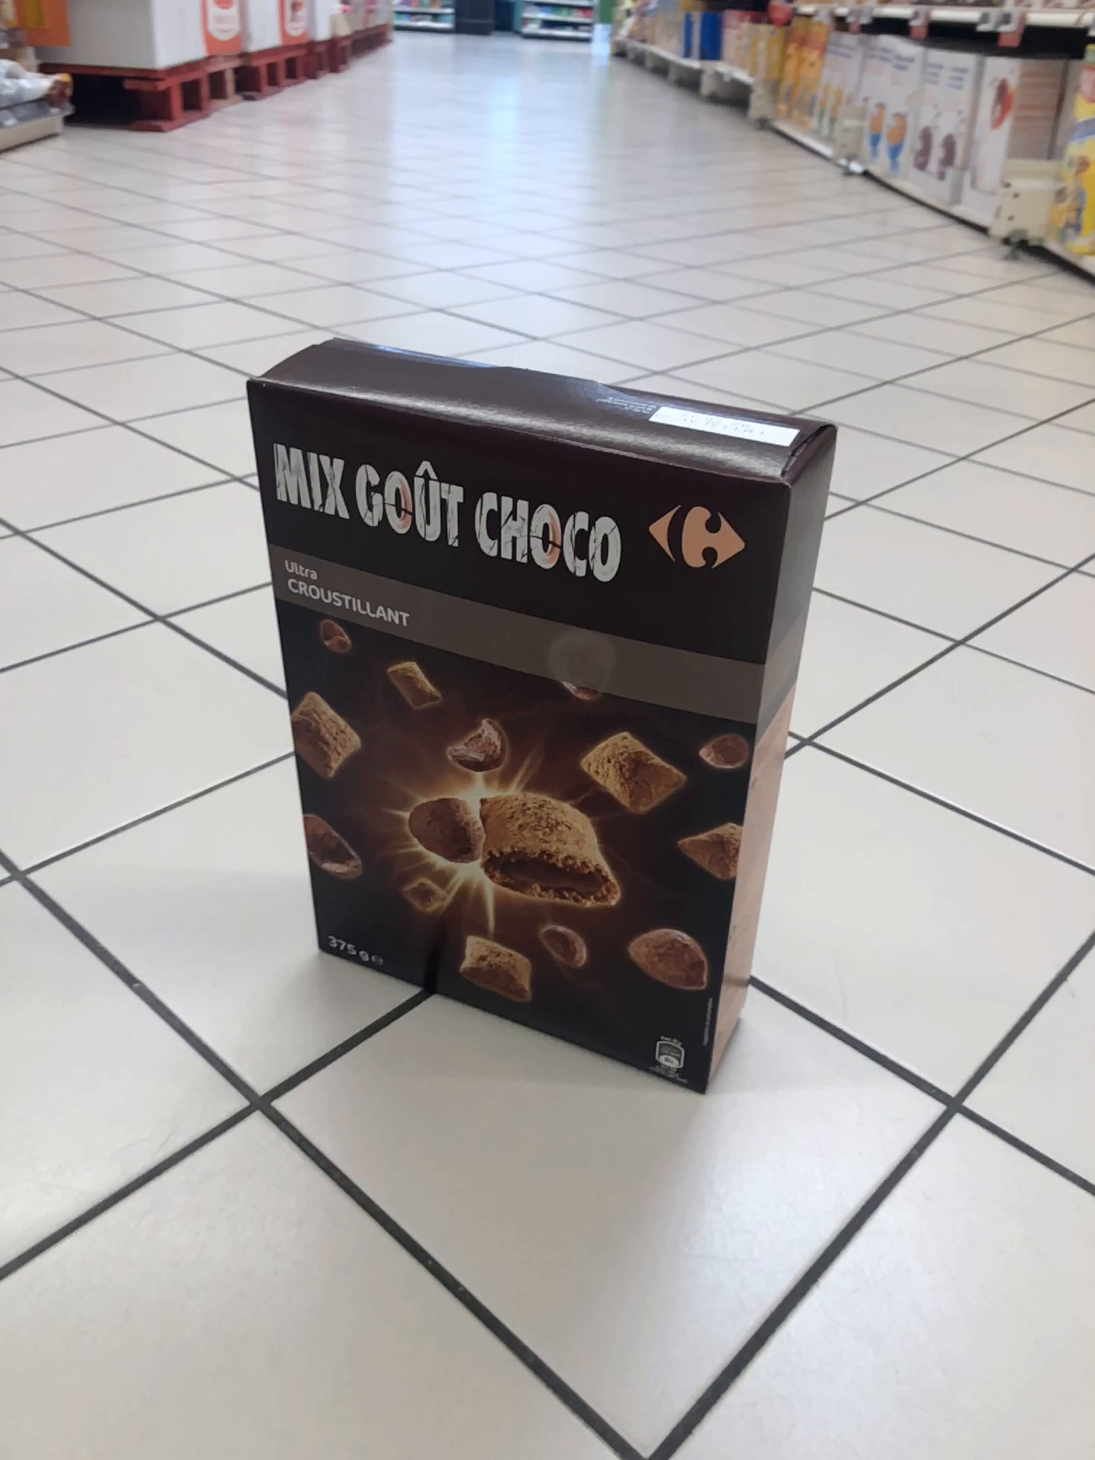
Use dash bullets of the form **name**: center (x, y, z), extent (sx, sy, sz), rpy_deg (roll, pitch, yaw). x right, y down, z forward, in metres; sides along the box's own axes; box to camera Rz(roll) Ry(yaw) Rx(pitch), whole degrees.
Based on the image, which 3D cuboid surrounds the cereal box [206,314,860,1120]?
- **cereal box**: center (-0.009, -0.002, 0.471), extent (0.200, 0.268, 0.081), rpy_deg (15, 36, 19)
